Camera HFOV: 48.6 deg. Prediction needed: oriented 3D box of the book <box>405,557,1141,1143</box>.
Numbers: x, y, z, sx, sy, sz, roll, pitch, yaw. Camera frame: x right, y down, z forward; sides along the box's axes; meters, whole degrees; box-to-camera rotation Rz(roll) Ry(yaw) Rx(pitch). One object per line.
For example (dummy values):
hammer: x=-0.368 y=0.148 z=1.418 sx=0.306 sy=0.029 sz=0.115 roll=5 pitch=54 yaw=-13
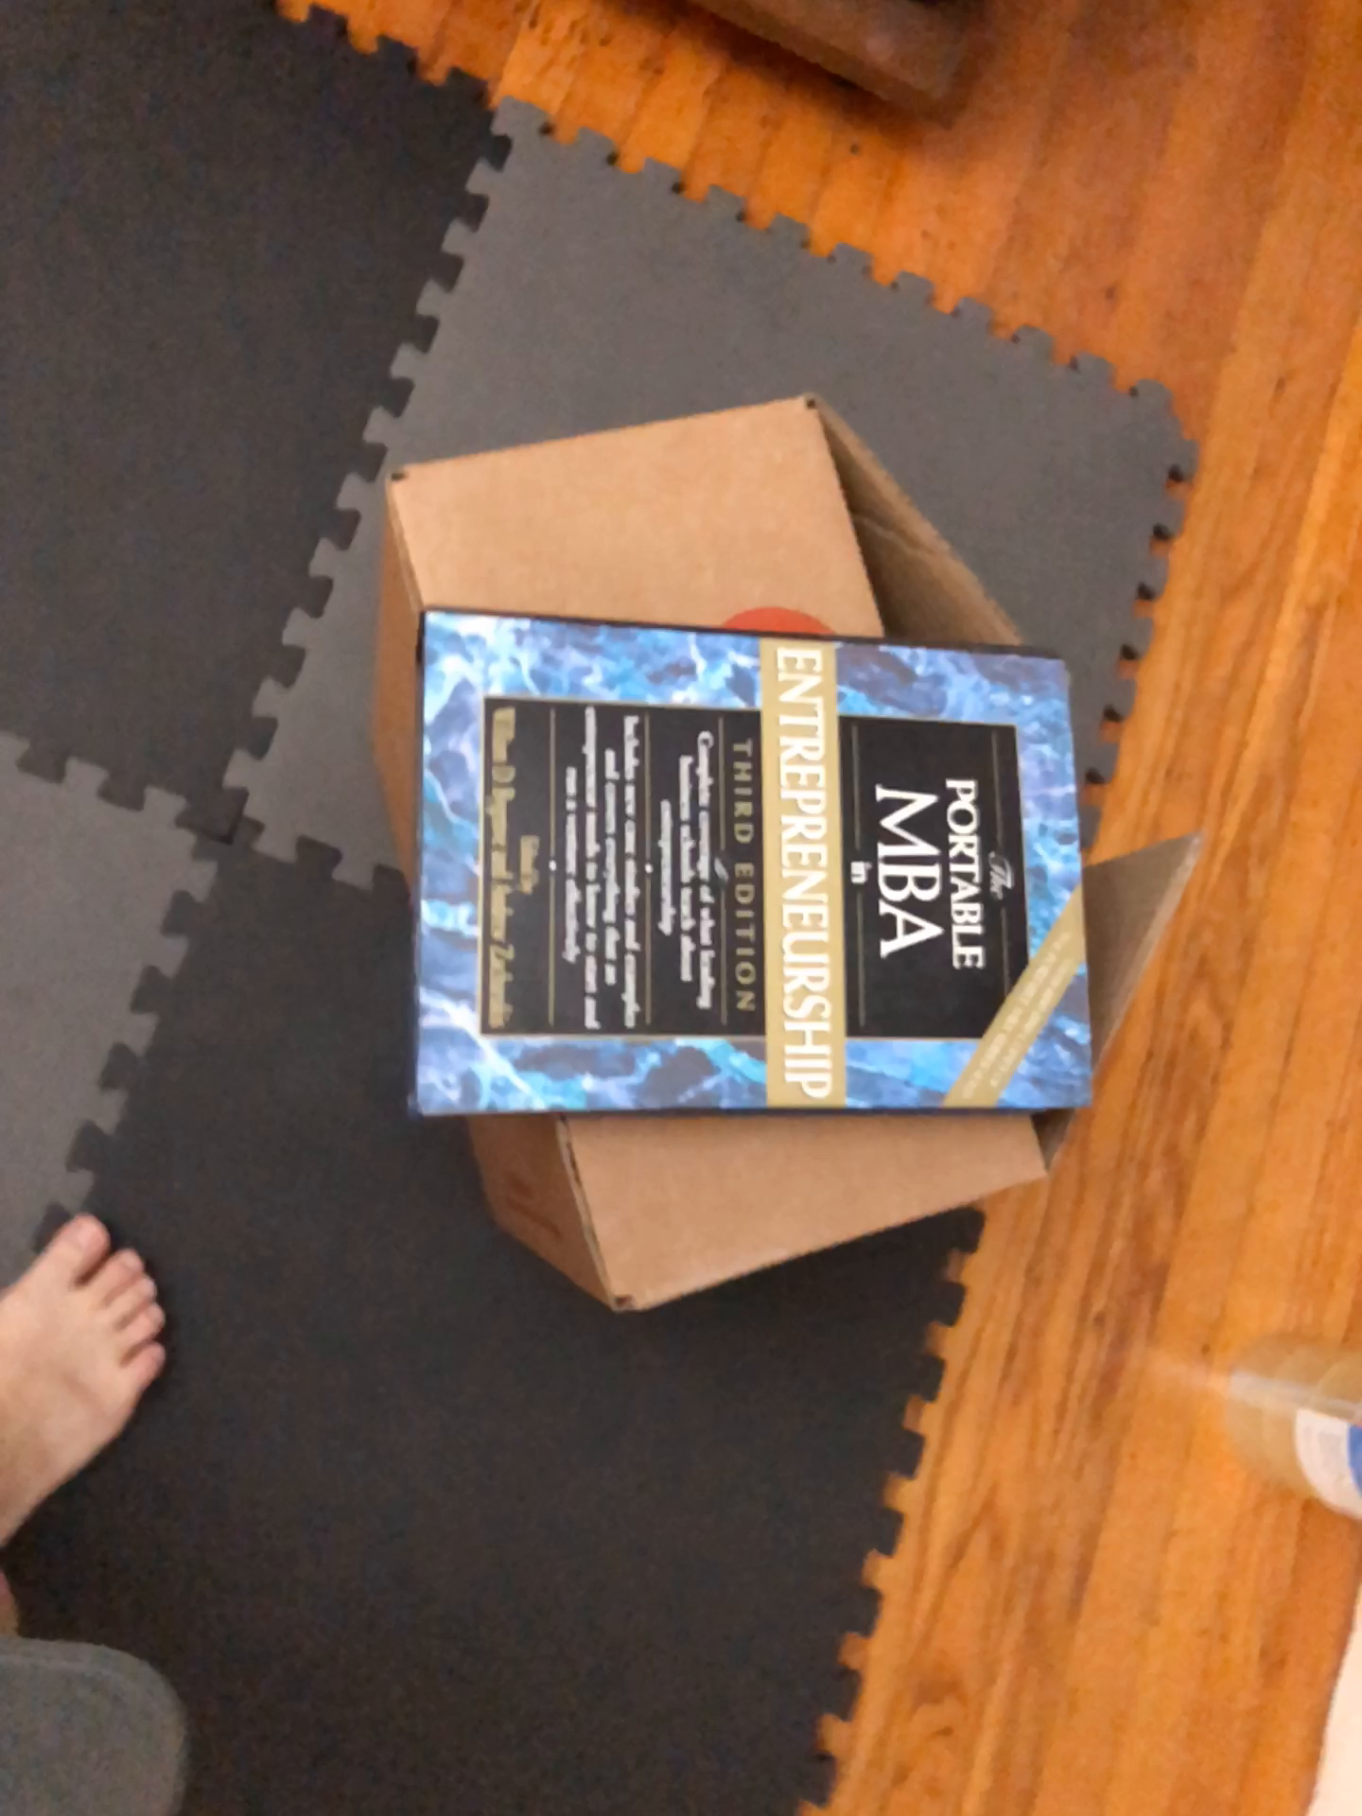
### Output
book: x=0.032 y=-0.017 z=0.585 sx=0.270 sy=0.060 sz=0.210 roll=1 pitch=81 yaw=-10
